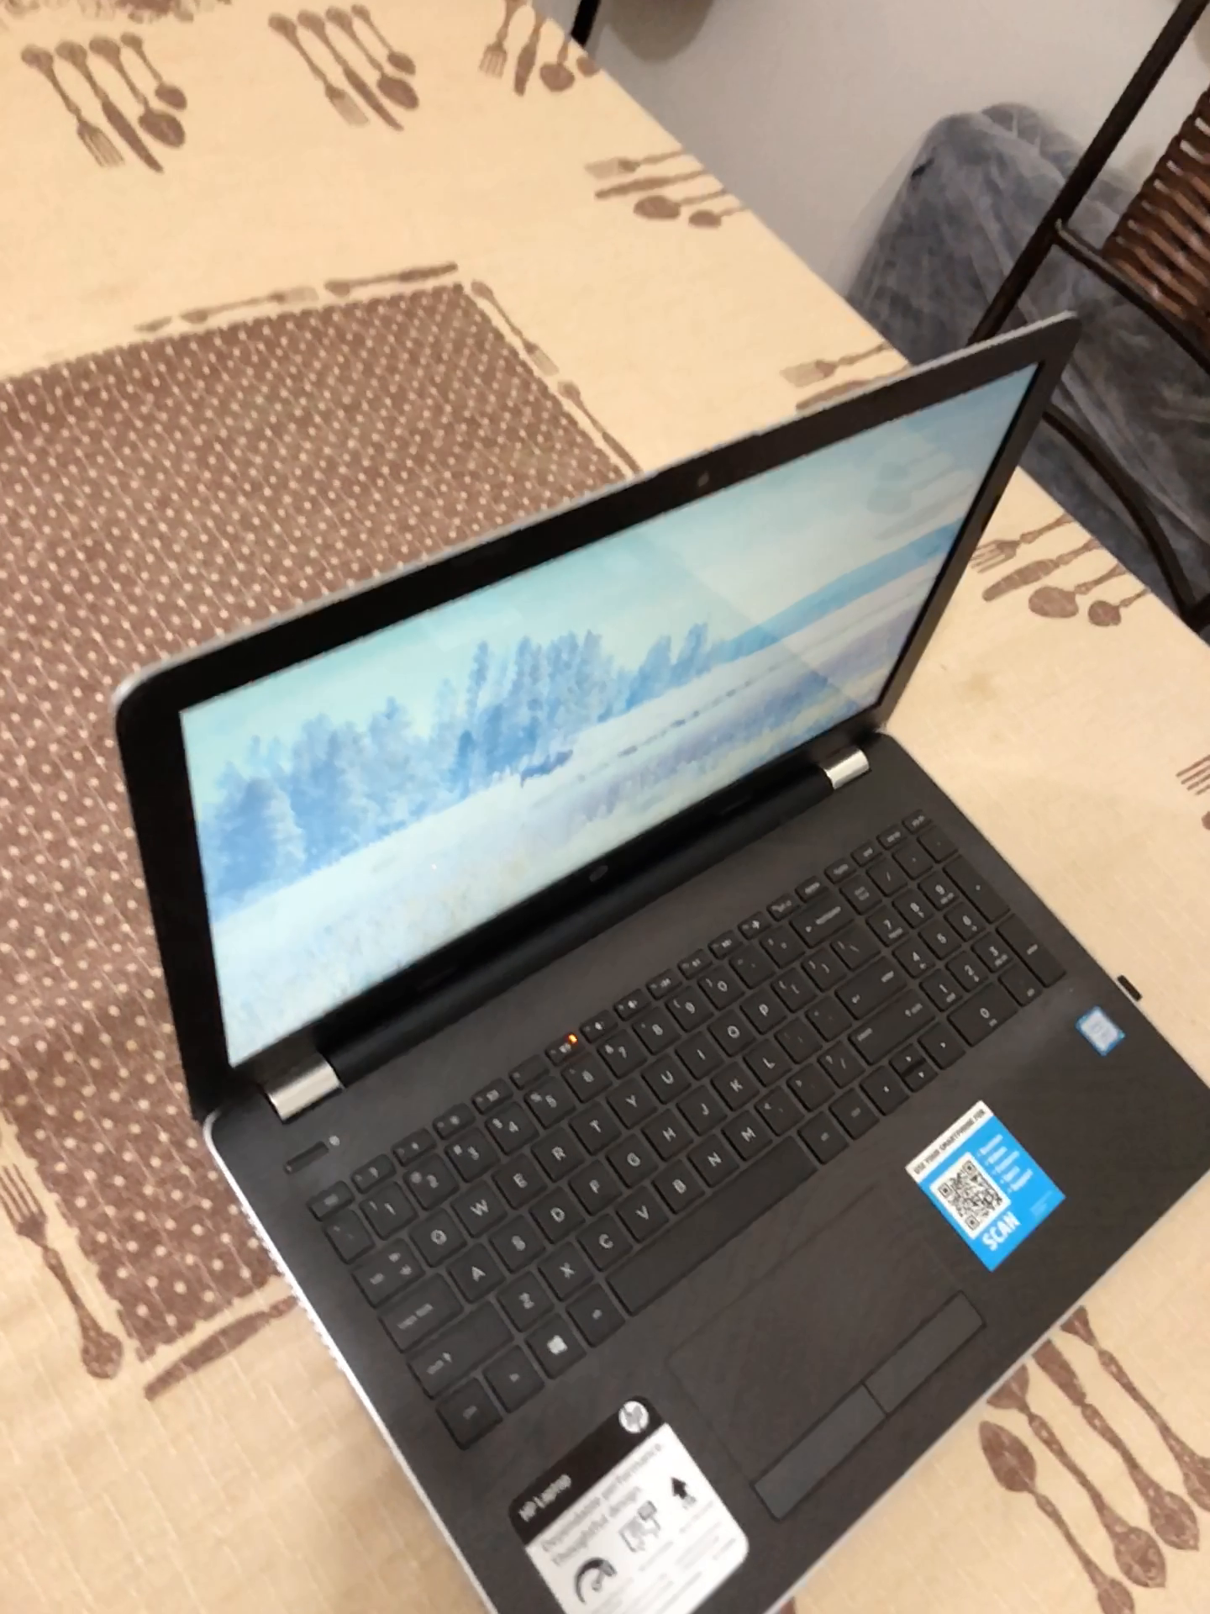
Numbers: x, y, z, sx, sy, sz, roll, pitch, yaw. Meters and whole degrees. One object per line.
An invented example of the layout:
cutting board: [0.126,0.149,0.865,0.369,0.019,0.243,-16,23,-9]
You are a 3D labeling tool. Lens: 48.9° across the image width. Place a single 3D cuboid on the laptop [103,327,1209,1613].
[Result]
laptop: [0.081,0.058,0.440,0.361,0.226,0.268,-28,69,-29]
